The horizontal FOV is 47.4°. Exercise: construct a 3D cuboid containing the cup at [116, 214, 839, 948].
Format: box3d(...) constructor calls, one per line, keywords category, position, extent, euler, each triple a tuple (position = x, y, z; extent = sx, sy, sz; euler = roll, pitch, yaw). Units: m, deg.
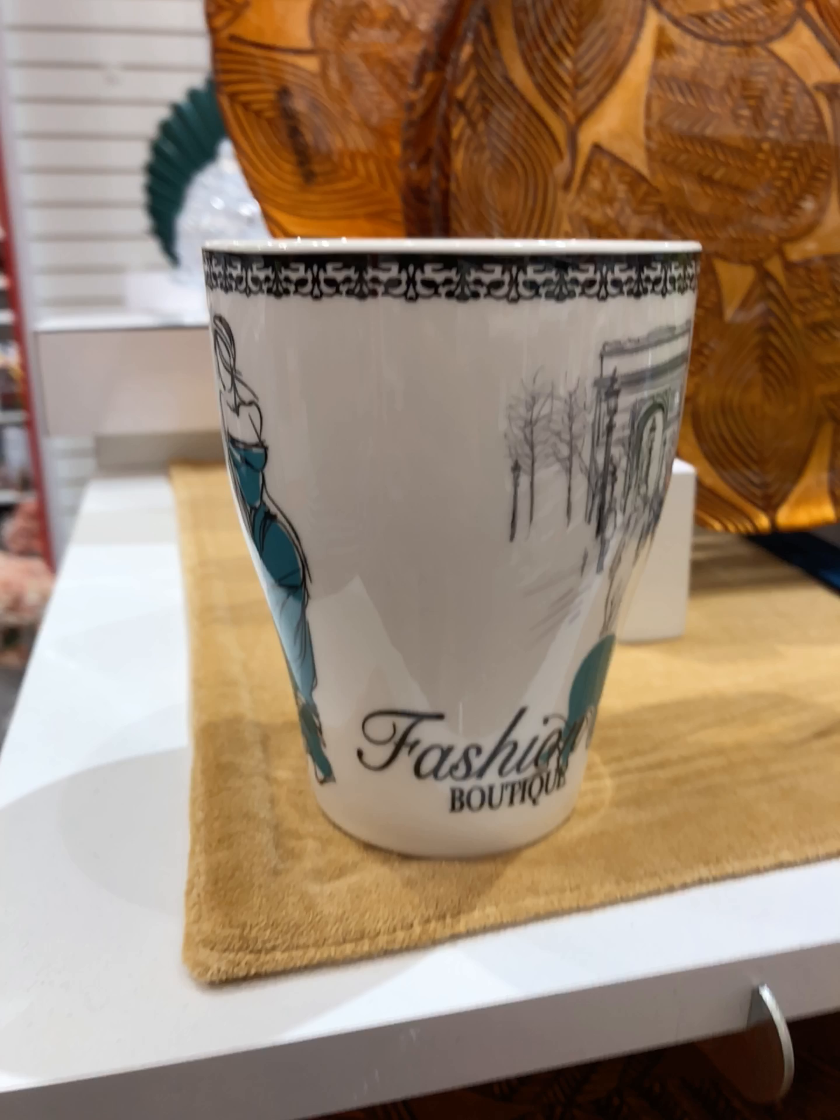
box3d(category="cup", position=(0.016, -0.013, 0.187), extent=(0.080, 0.100, 0.110), euler=(15, 23, 39))
